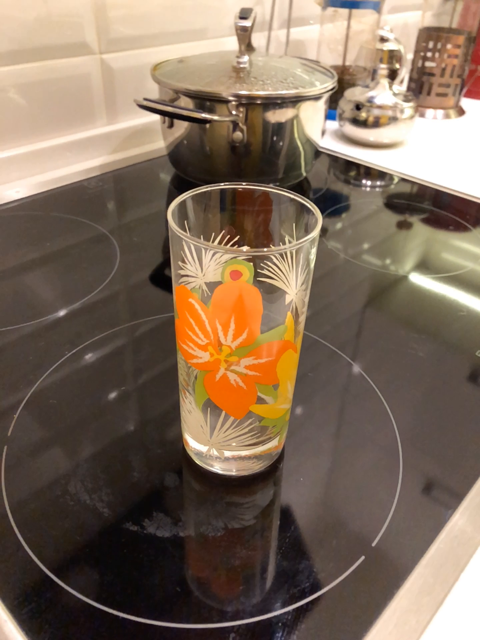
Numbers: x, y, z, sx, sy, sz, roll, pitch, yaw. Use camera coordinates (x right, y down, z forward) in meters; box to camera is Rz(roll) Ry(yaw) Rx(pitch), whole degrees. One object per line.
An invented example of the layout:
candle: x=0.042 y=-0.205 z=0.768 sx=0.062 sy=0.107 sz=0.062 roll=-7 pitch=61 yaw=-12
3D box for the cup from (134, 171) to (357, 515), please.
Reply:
cup: x=0.001 y=0.013 z=0.254 sx=0.066 sy=0.138 sz=0.063 roll=1 pitch=36 yaw=-1
